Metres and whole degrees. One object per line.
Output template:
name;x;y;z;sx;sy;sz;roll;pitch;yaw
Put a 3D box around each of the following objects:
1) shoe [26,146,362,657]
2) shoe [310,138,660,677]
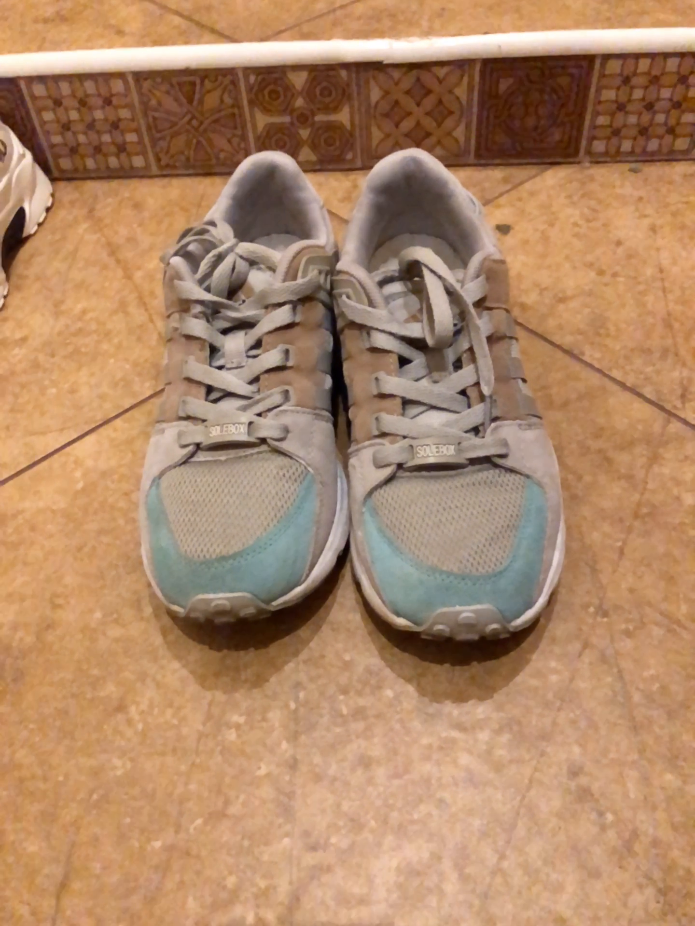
shoe;-0.051;-0.047;0.373;0.110;0.080;0.262;-2;50;3
shoe;0.042;-0.044;0.358;0.108;0.080;0.262;-5;50;1
